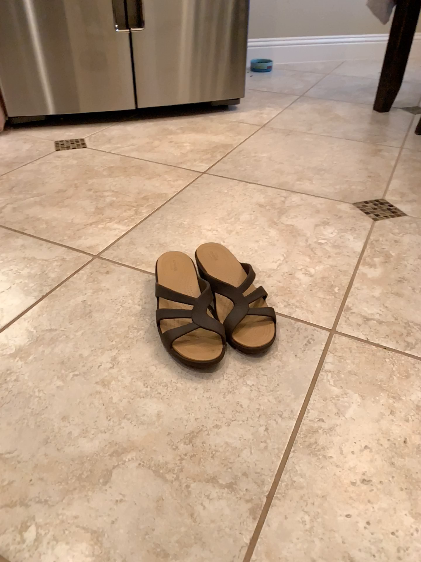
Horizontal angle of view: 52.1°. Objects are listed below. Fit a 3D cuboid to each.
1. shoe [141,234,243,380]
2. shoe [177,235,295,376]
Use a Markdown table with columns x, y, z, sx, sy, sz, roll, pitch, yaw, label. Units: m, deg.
| x | y | z | sx | sy | sz | roll | pitch | yaw | label |
| --- | --- | --- | --- | --- | --- | --- | --- | --- | --- |
| -0.042 | 0.030 | 0.736 | 0.110 | 0.092 | 0.260 | -9 | 37 | -14 | shoe |
| 0.032 | 0.030 | 0.771 | 0.110 | 0.092 | 0.265 | -11 | 38 | -17 | shoe |
